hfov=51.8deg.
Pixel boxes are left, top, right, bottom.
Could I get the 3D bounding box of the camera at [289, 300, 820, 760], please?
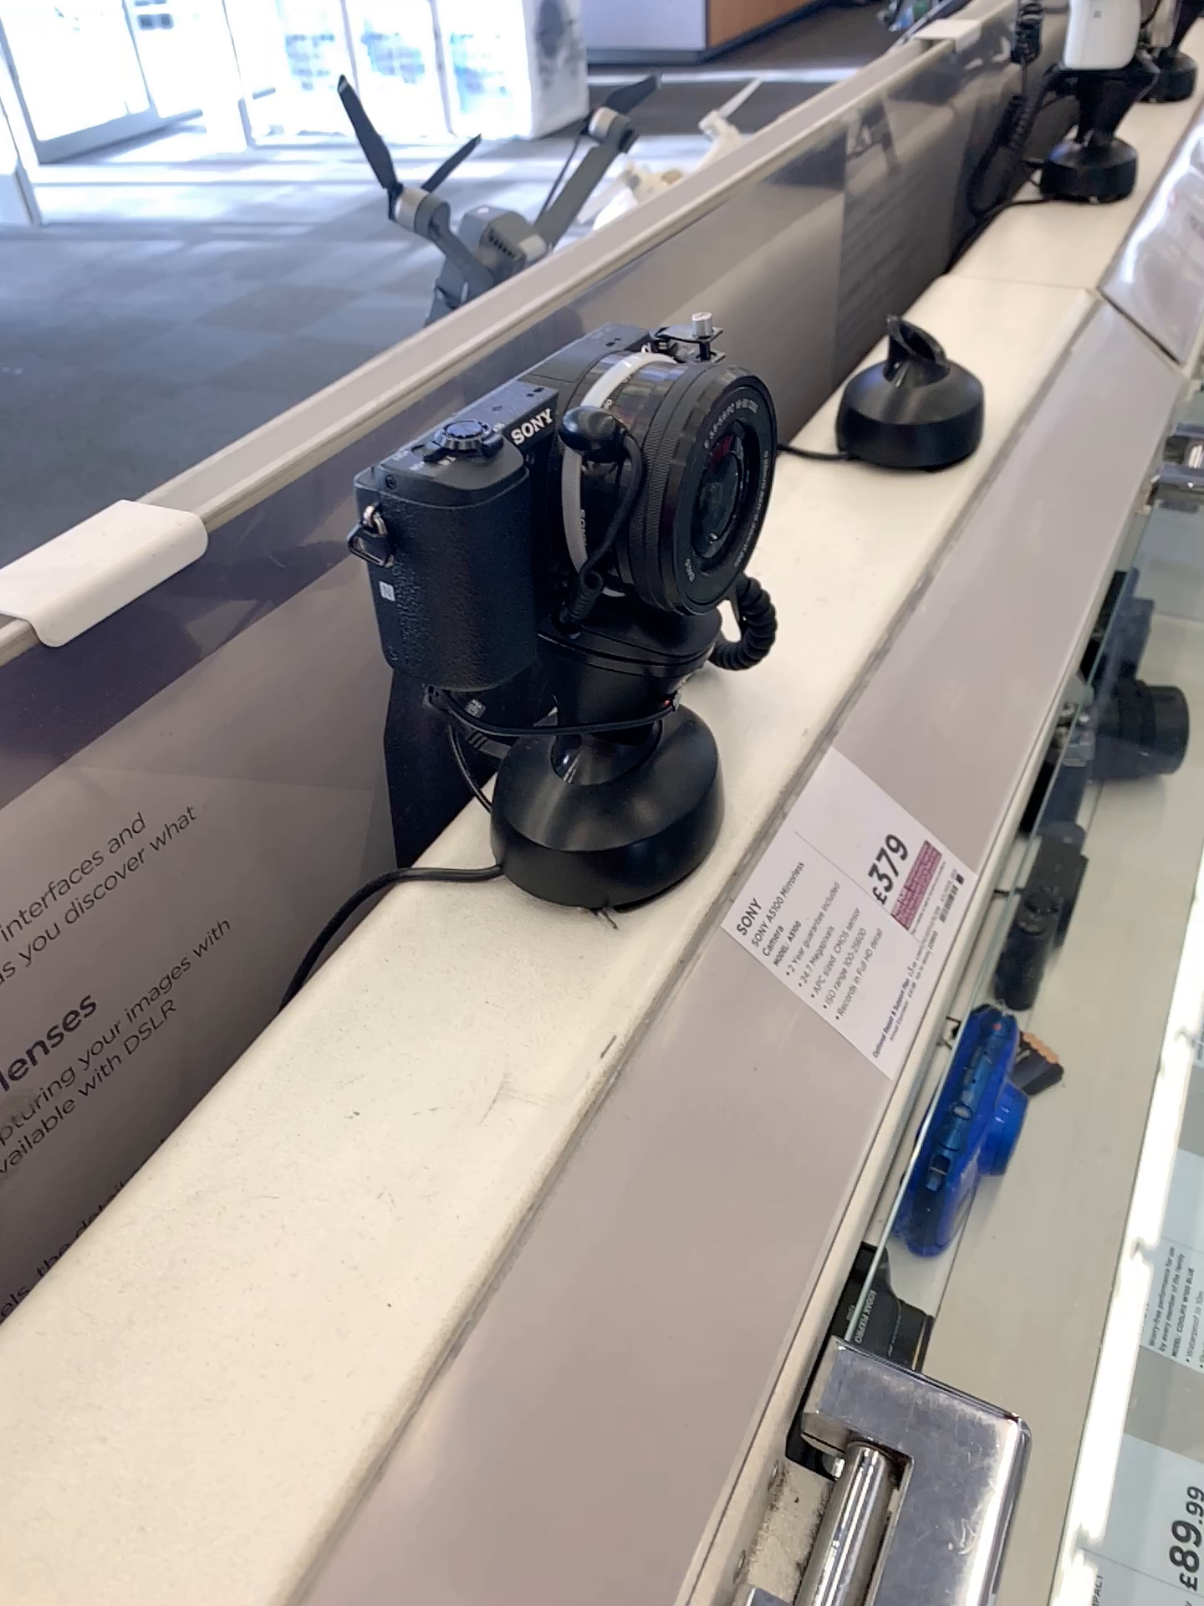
[{"bbox_3d":[-0.005,-0.078,0.323,0.080,0.059,0.121,17,43,25],"label":"camera"}]
